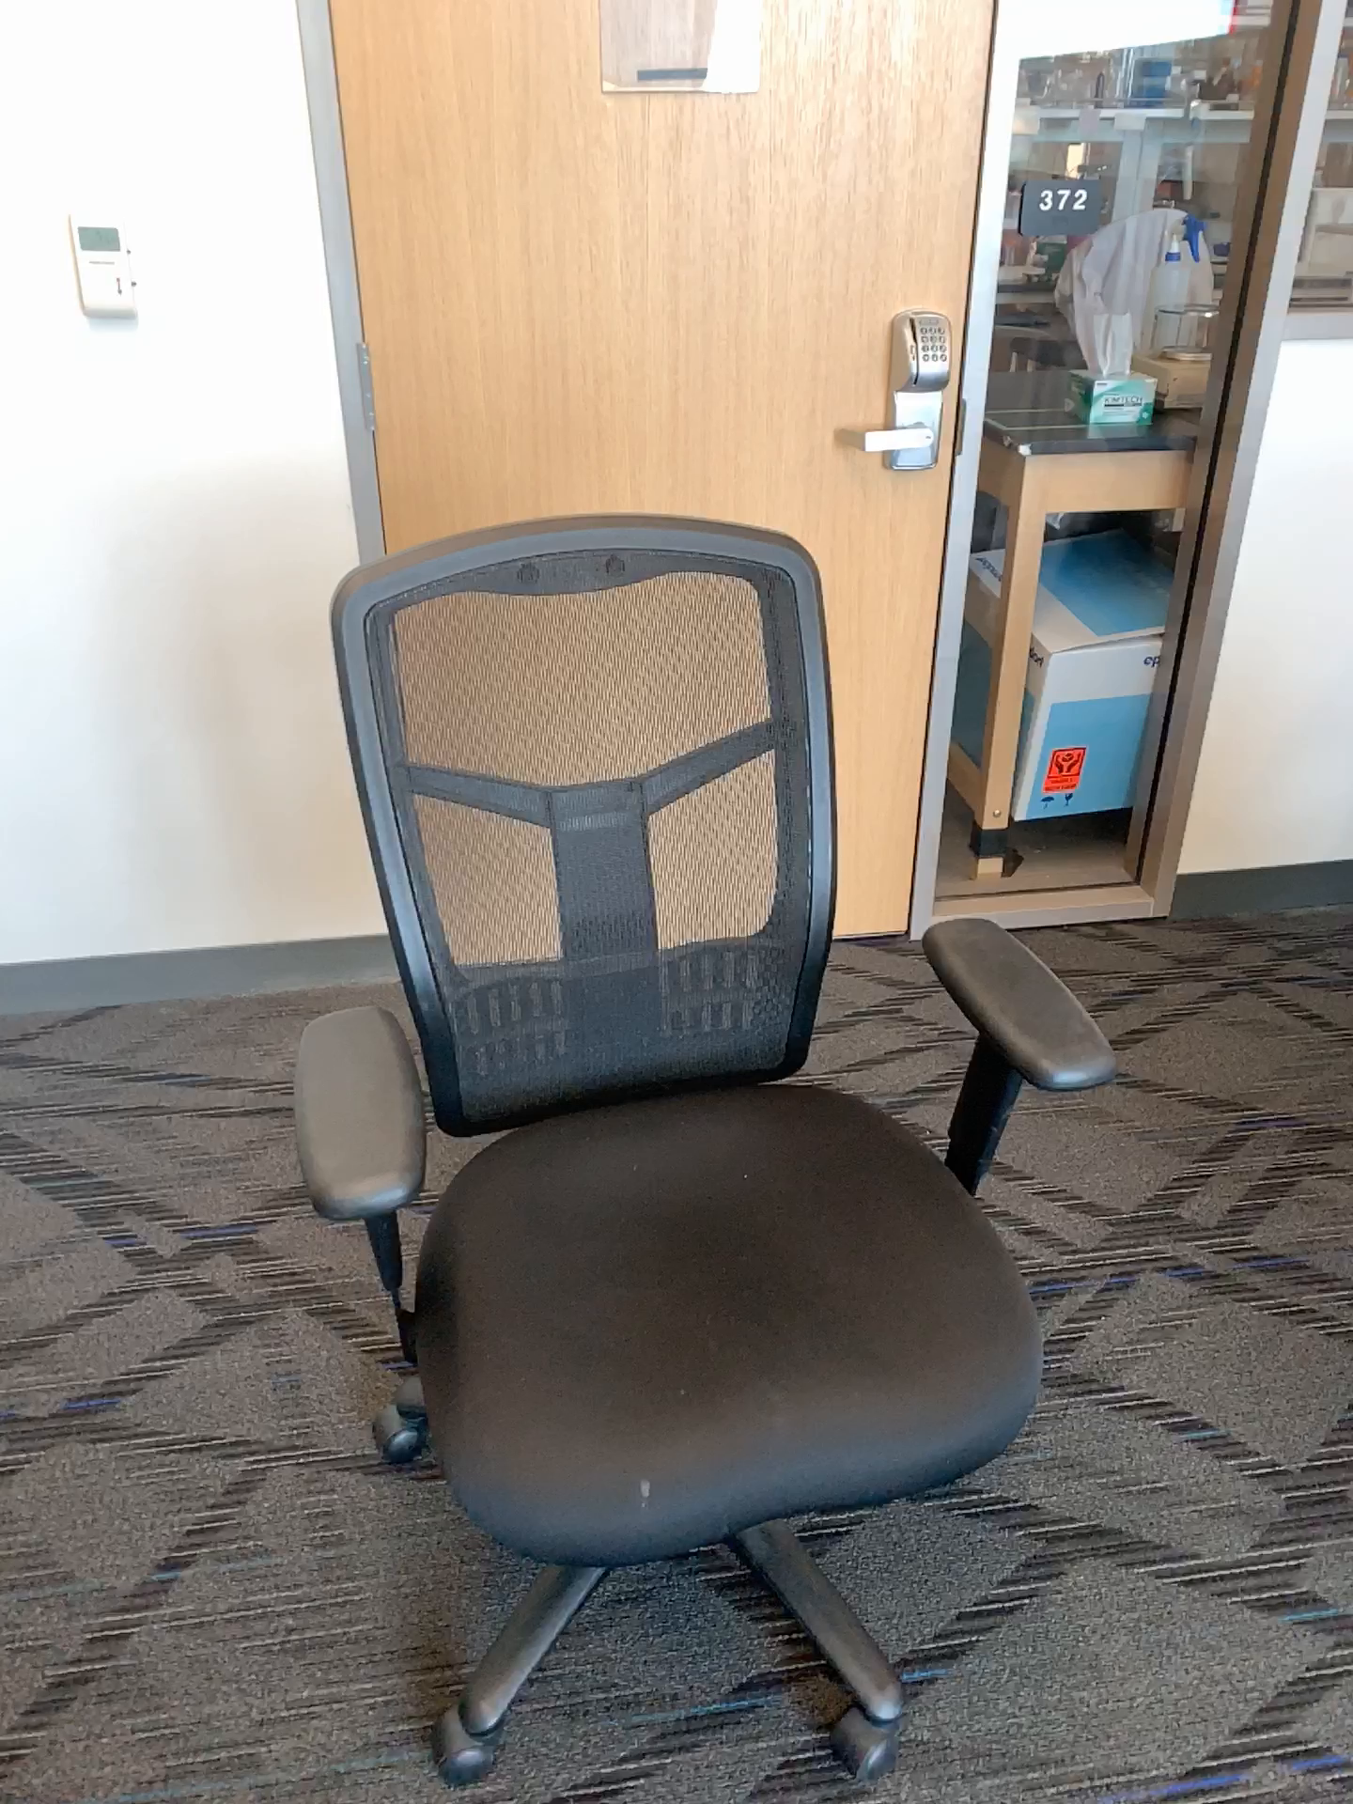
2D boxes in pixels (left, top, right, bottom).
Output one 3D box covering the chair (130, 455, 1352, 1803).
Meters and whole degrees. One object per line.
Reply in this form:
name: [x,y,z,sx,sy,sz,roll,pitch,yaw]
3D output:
chair: [-0.004,0.183,1.275,0.660,0.992,0.726,-5,29,-9]
